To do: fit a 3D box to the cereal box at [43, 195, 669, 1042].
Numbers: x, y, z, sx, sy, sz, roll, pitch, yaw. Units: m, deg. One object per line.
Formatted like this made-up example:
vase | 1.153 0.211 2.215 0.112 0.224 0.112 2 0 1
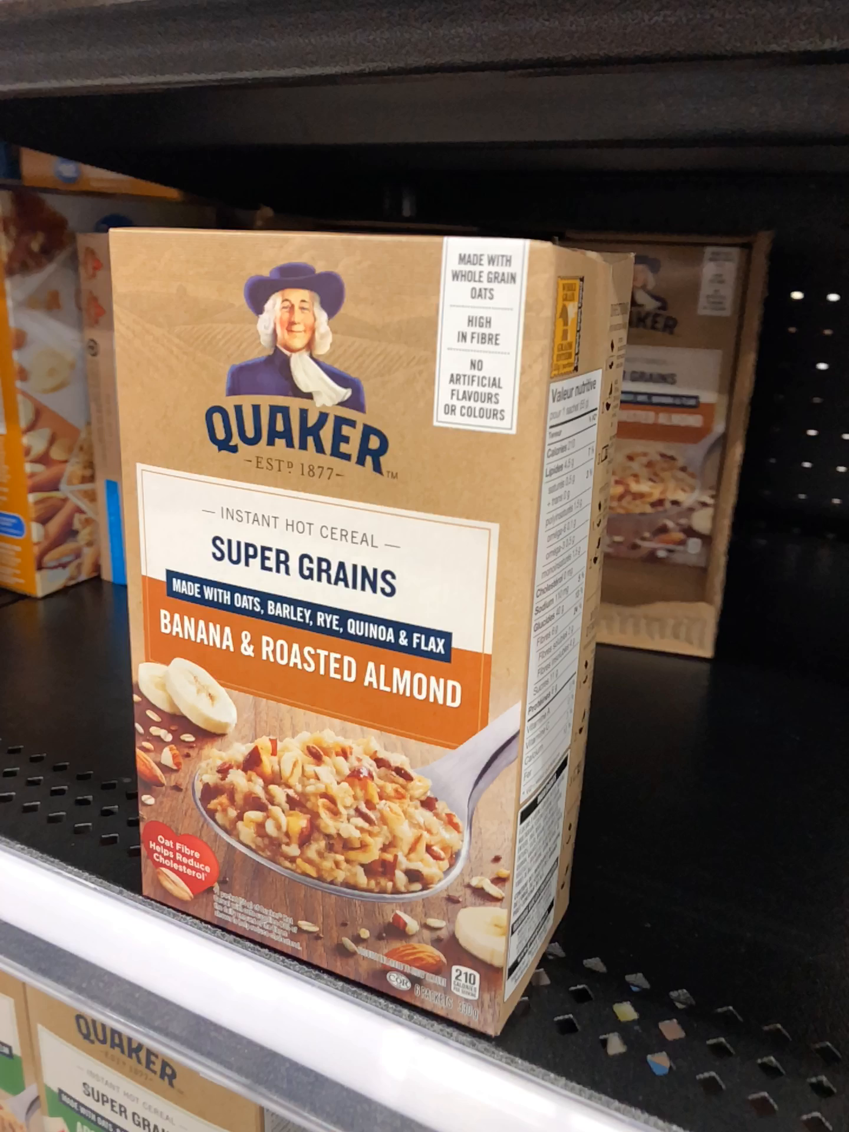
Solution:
cereal box | -0.017 0.004 0.252 0.130 0.189 0.070 10 21 24
